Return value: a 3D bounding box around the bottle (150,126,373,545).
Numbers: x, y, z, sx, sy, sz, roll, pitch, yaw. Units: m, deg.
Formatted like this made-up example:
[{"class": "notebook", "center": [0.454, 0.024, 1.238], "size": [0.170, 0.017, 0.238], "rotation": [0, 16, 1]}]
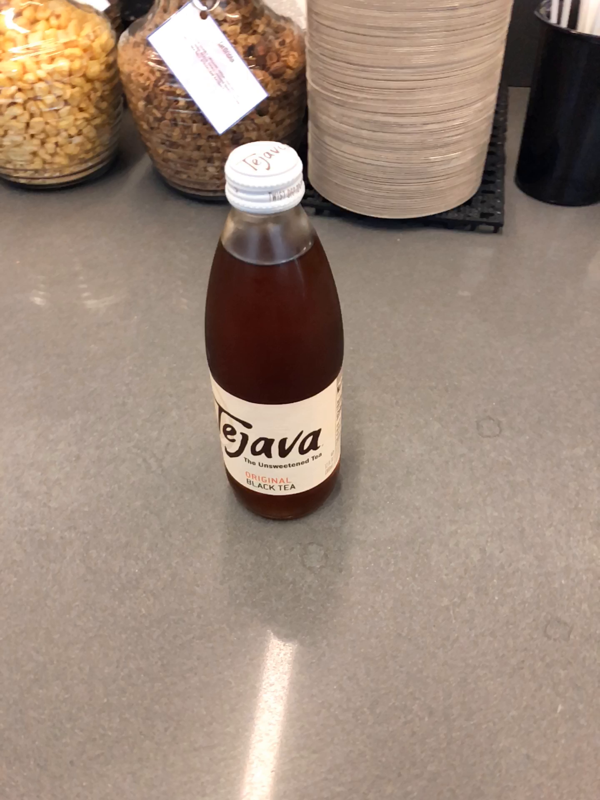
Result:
[{"class": "bottle", "center": [-0.010, -0.018, 0.312], "size": [0.070, 0.189, 0.070], "rotation": [0, 46, 0]}]
